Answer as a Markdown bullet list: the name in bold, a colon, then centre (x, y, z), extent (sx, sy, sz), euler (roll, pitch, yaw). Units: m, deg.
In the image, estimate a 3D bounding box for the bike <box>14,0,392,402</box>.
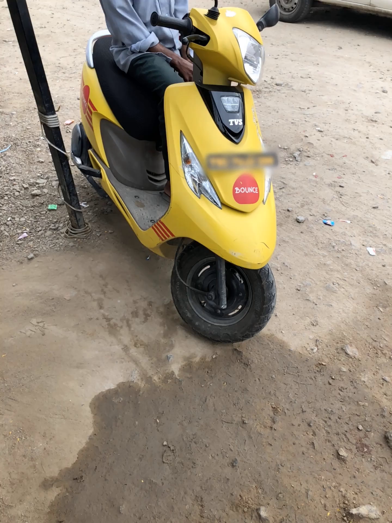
- **bike**: centre (-0.098, -0.533, 2.032), extent (0.891, 1.160, 1.659), euler (-18, 45, -21)
